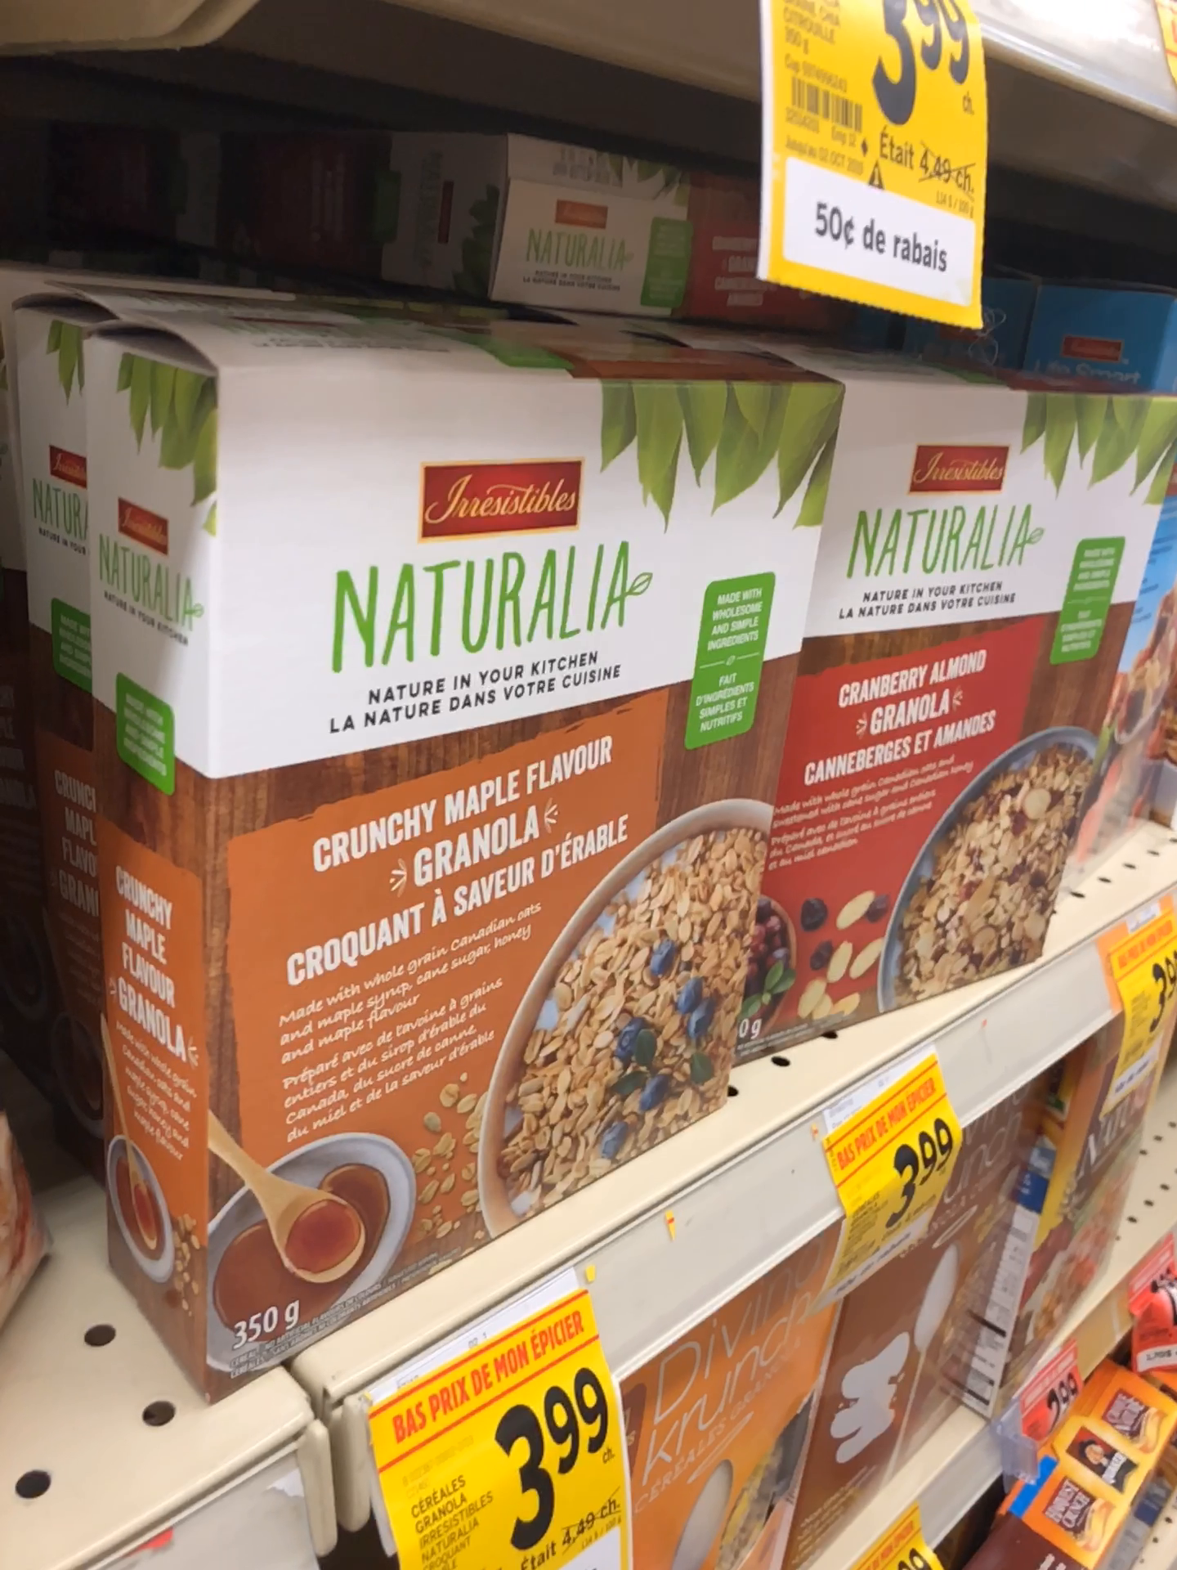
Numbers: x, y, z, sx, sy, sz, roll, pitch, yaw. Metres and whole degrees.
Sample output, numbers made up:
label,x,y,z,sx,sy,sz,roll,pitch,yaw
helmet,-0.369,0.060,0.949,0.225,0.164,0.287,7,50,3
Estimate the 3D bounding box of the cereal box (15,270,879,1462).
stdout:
label,x,y,z,sx,sy,sz,roll,pitch,yaw
cereal box,-0.026,0.008,0.286,0.050,0.209,0.171,26,28,38
